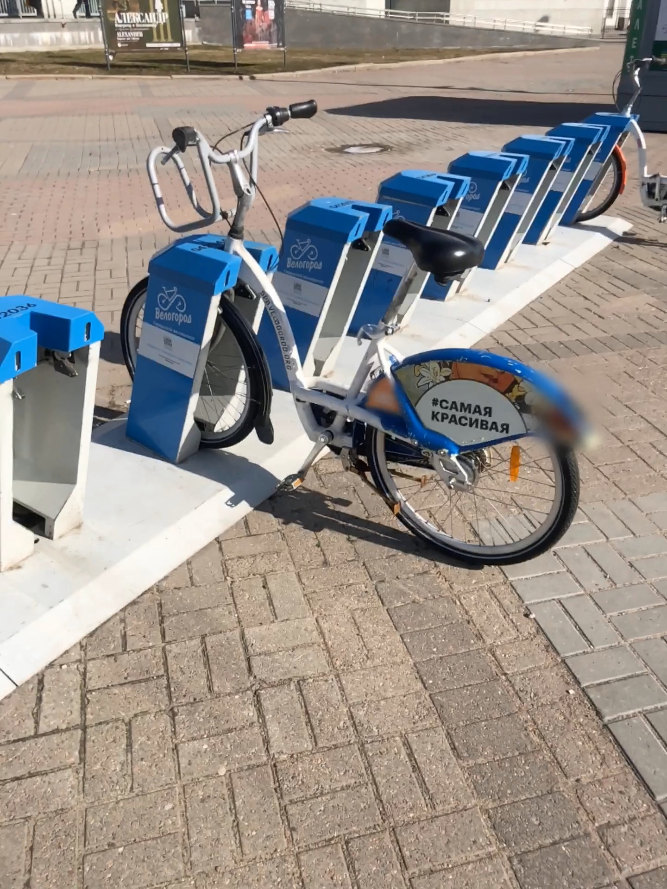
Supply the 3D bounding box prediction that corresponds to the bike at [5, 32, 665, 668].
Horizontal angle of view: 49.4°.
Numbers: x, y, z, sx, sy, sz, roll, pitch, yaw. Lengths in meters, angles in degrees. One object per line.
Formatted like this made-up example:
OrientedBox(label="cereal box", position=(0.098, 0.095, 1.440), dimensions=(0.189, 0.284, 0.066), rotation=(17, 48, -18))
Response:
OrientedBox(label="bike", position=(-0.046, -0.394, 2.110), dimensions=(1.629, 1.204, 0.598), rotation=(22, 36, 26))
